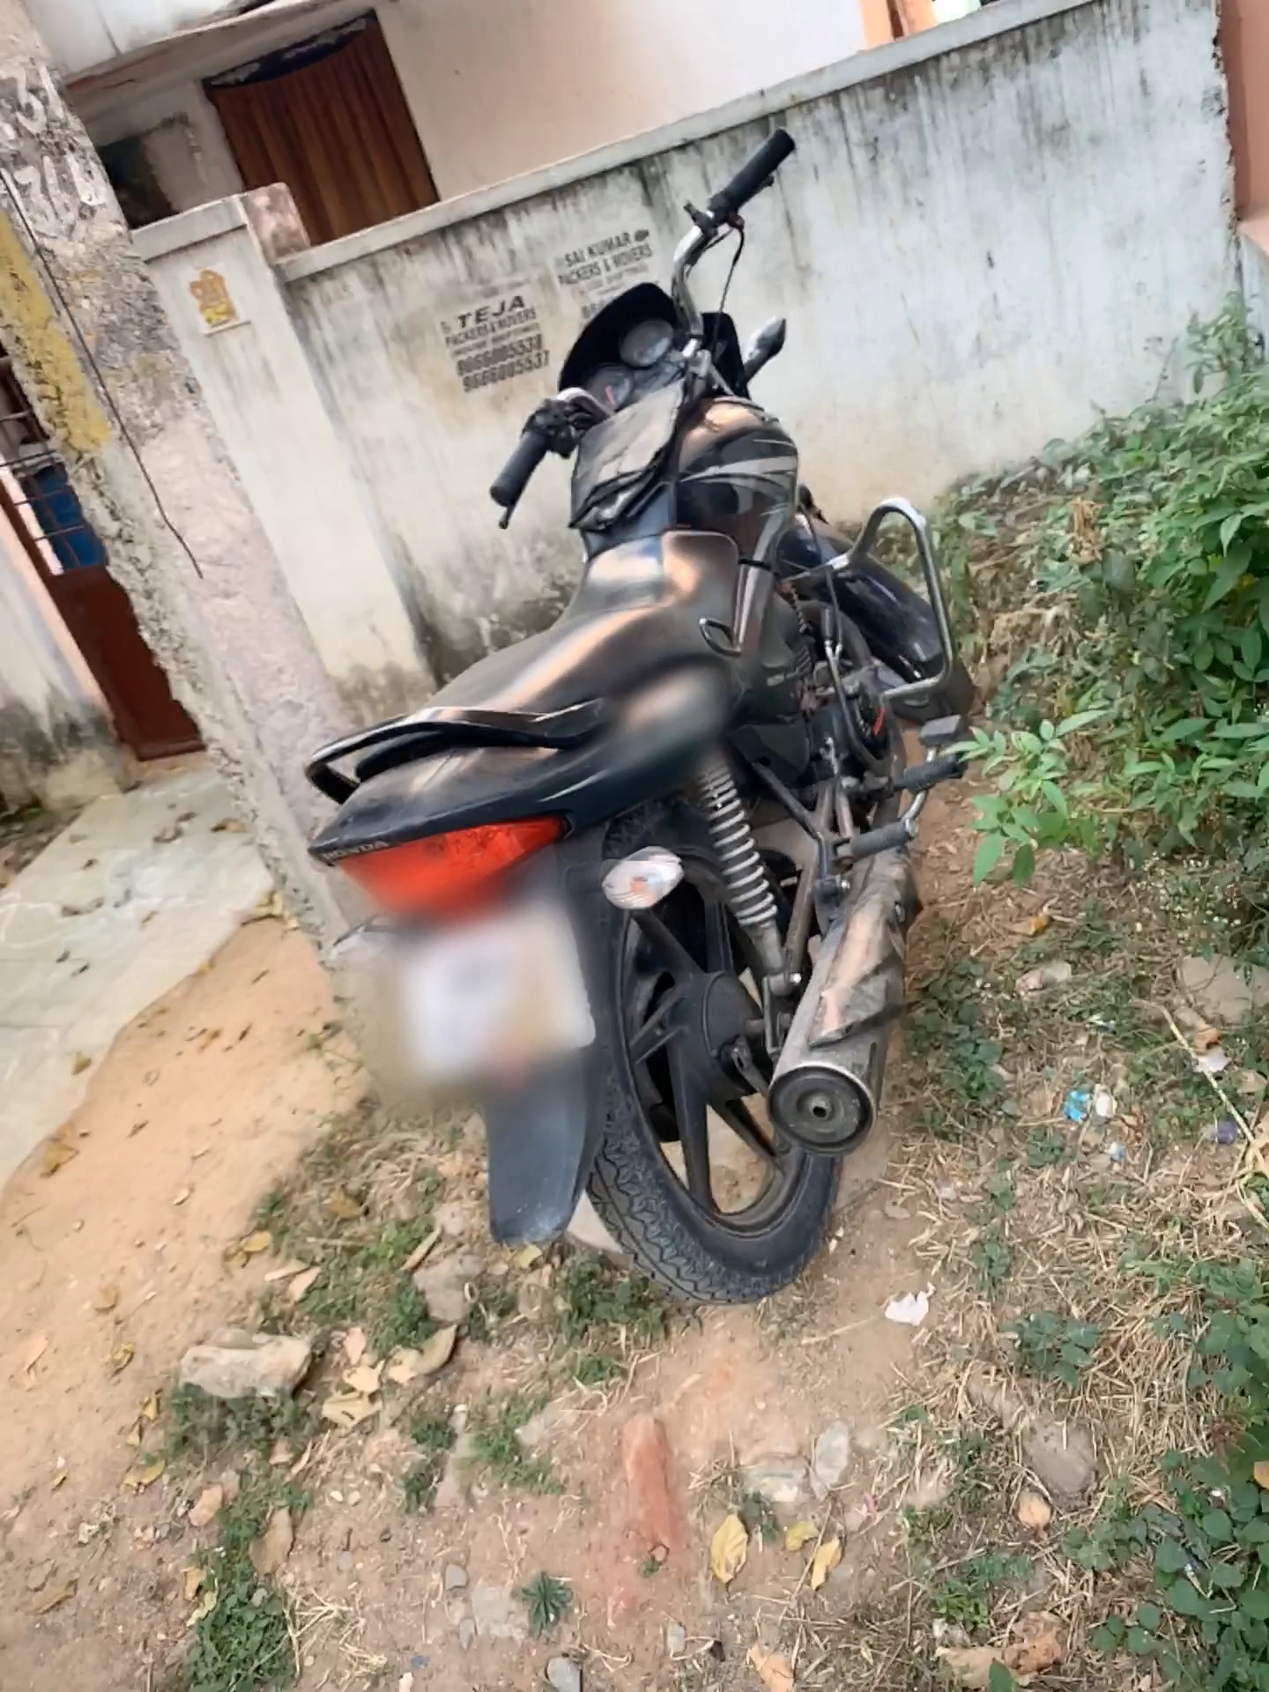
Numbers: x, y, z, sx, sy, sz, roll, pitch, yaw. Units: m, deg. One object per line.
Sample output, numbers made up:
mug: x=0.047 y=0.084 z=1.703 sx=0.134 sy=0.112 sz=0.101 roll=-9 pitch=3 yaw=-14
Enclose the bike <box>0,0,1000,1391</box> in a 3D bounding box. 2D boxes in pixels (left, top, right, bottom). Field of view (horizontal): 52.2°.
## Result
bike: x=-0.047 y=-0.320 z=1.613 sx=0.735 sy=1.101 sz=1.245 roll=-8 pitch=39 yaw=19
